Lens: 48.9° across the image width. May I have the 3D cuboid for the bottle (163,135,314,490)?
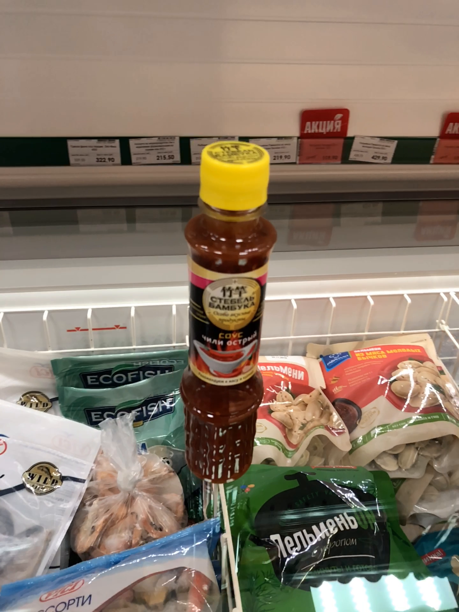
[{"bbox_3d":[-0.003,0.014,0.284,0.060,0.199,0.060,2,35,-1],"label":"bottle"}]
